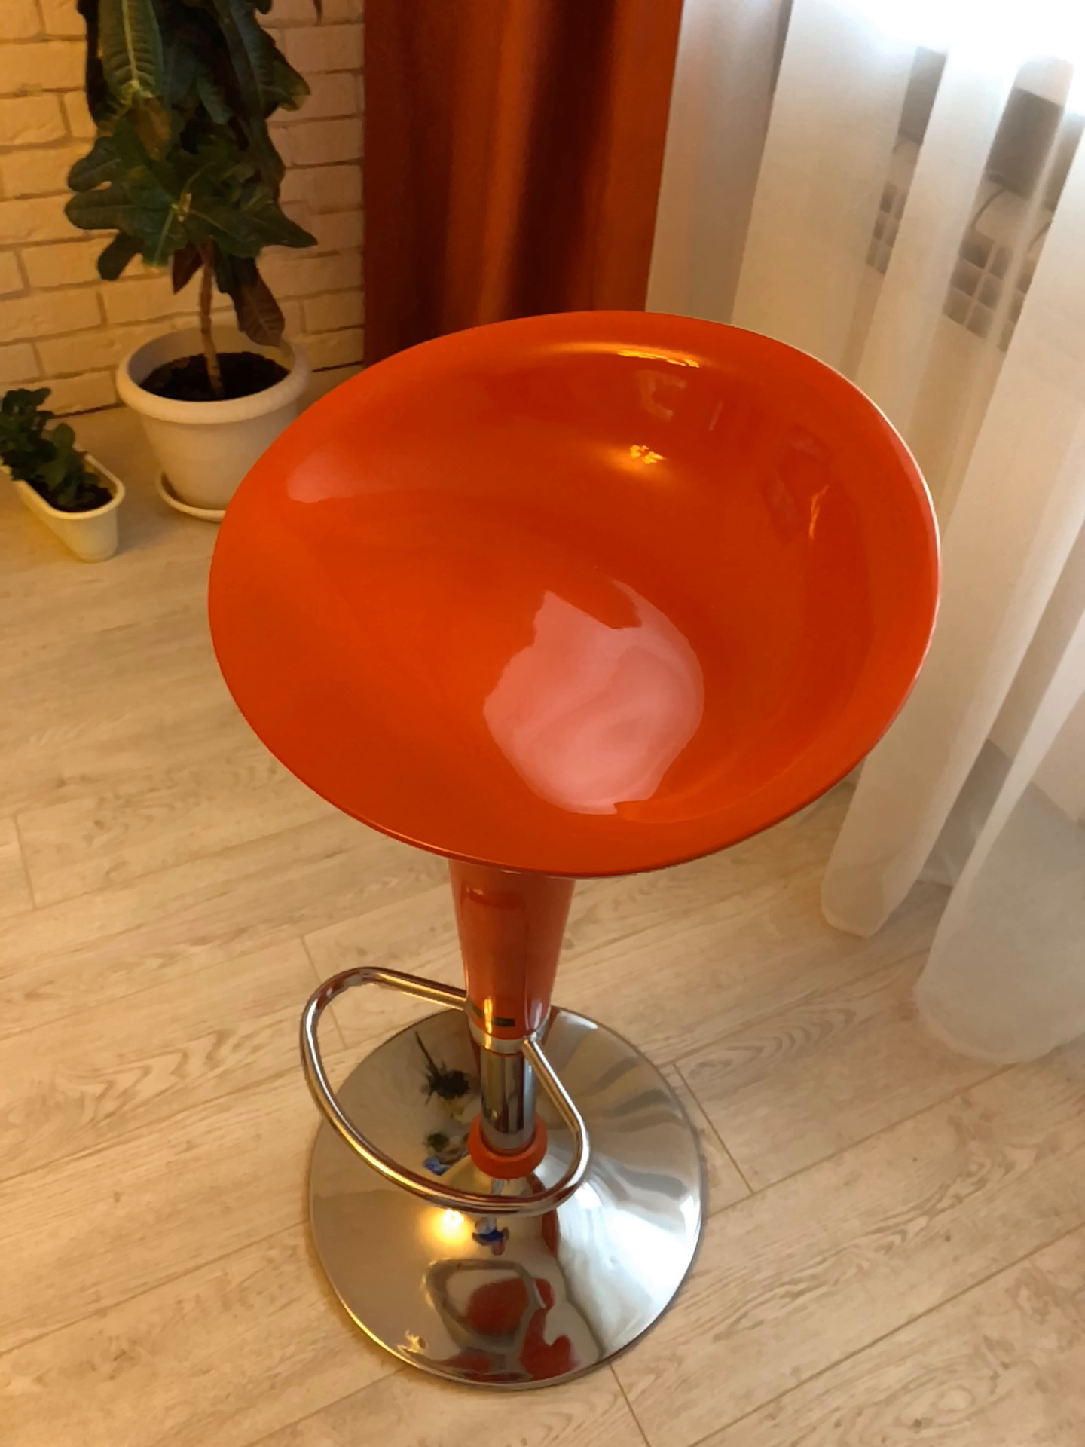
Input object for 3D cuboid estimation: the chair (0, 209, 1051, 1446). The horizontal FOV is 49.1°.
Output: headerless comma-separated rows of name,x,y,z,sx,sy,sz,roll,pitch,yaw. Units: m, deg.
chair,-0.019,0.117,0.839,0.410,0.725,0.423,24,47,20
